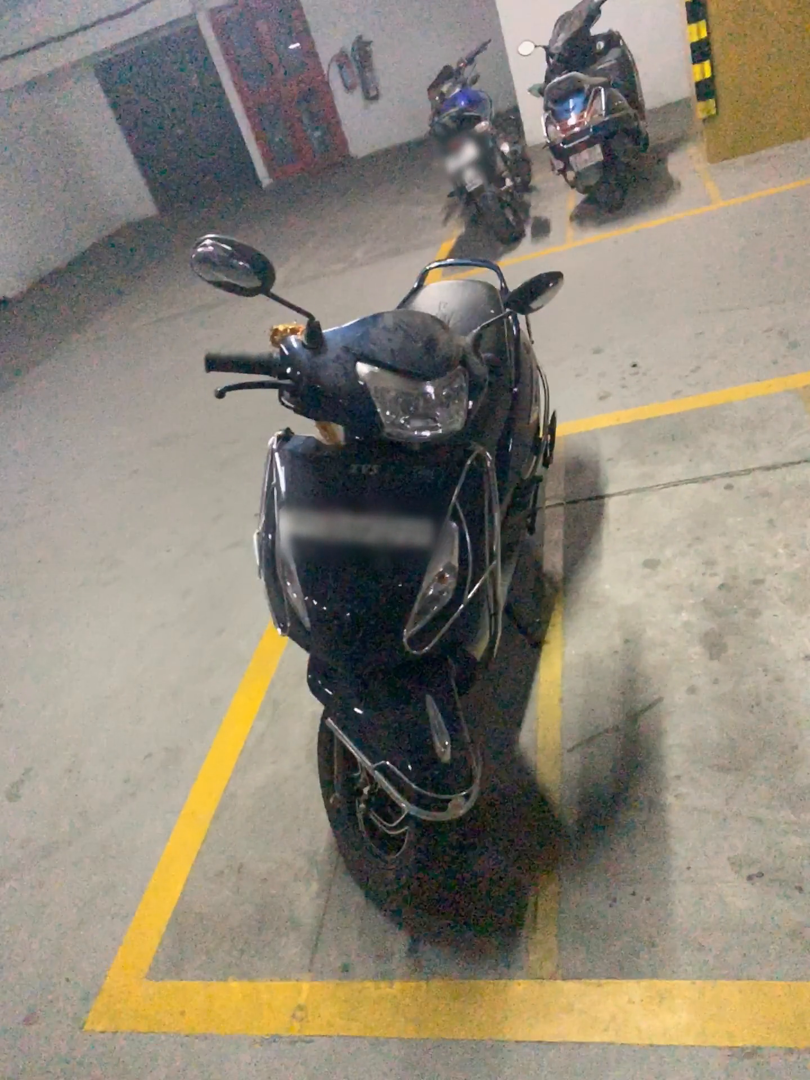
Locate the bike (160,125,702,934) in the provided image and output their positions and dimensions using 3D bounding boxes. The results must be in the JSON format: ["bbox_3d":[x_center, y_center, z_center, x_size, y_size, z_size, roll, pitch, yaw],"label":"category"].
[{"bbox_3d":[0.159,-0.178,2.079,0.665,1.028,1.700,-12,36,14],"label":"bike"}]
